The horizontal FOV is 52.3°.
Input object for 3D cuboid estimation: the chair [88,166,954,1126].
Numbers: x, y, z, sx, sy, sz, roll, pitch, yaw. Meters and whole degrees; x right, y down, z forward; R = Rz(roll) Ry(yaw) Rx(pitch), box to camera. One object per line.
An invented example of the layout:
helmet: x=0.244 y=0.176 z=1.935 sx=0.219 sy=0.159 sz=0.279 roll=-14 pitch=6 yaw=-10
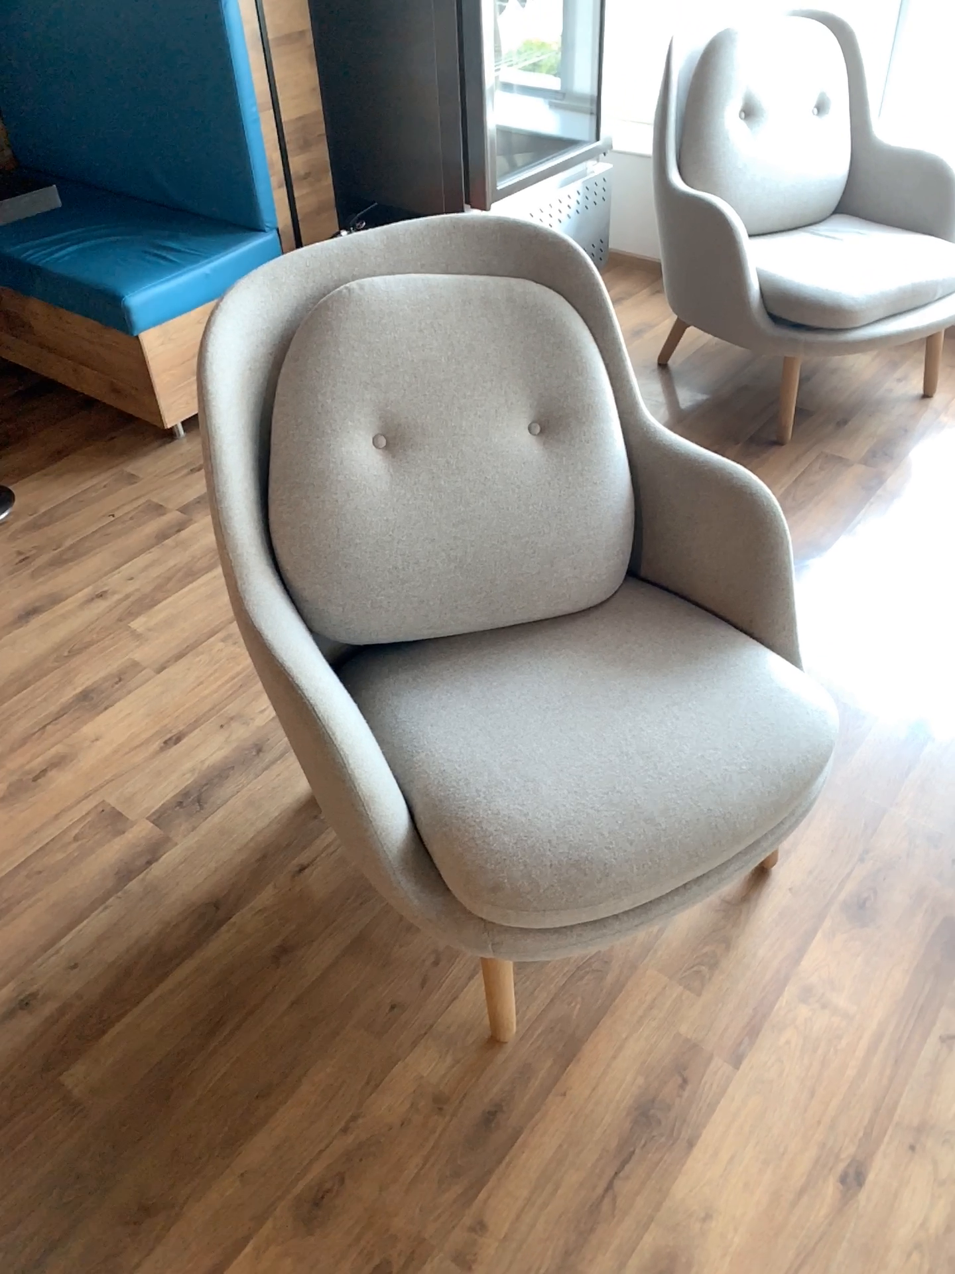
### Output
chair: x=0.086 y=-0.051 z=1.342 sx=0.752 sy=0.833 sz=0.744 roll=-28 pitch=46 yaw=-26
